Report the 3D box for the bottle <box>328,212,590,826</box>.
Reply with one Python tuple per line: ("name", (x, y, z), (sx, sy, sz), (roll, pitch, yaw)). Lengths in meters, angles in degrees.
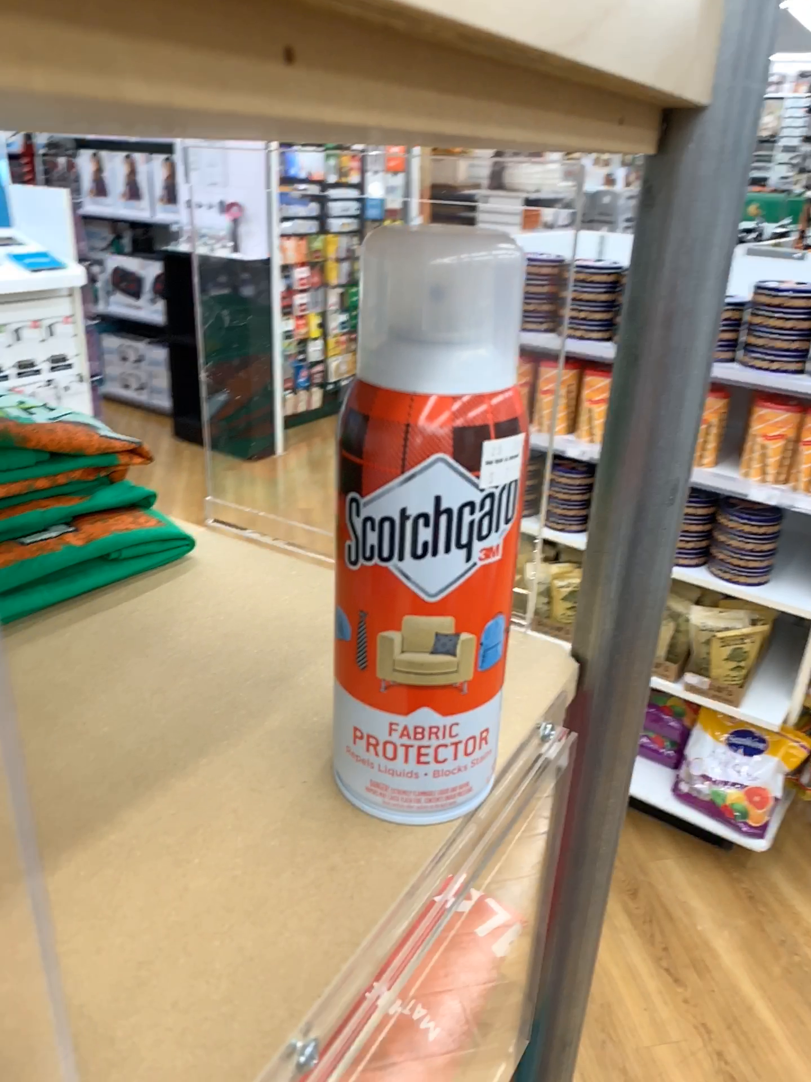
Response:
("bottle", (0.009, -0.003, 0.295), (0.069, 0.205, 0.067), (2, 24, -1))
